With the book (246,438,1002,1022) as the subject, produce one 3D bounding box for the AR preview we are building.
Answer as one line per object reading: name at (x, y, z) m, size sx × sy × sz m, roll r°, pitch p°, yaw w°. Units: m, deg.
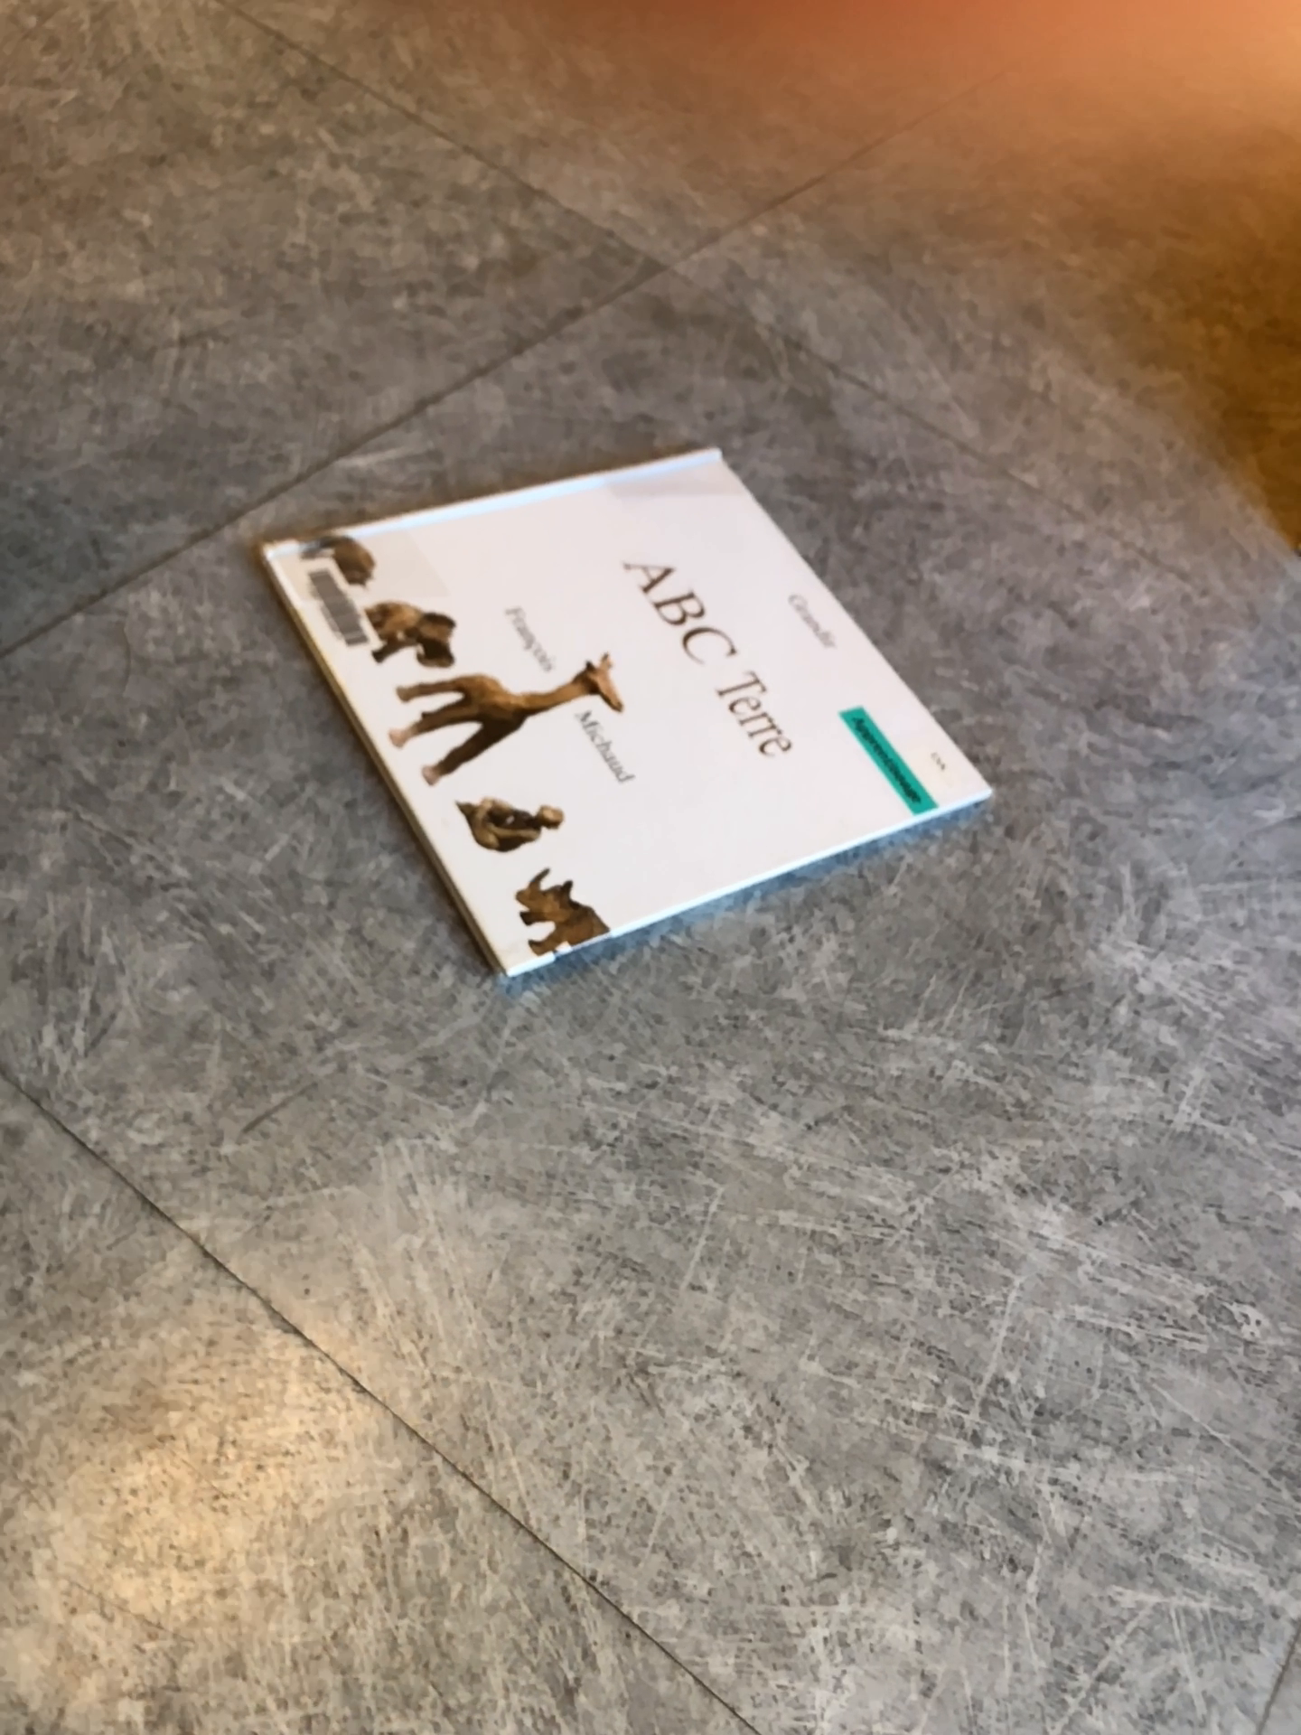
book at (-0.011, -0.064, 0.509) m, size 0.194 × 0.020 × 0.200 m, roll -19°, pitch 61°, yaw -27°
